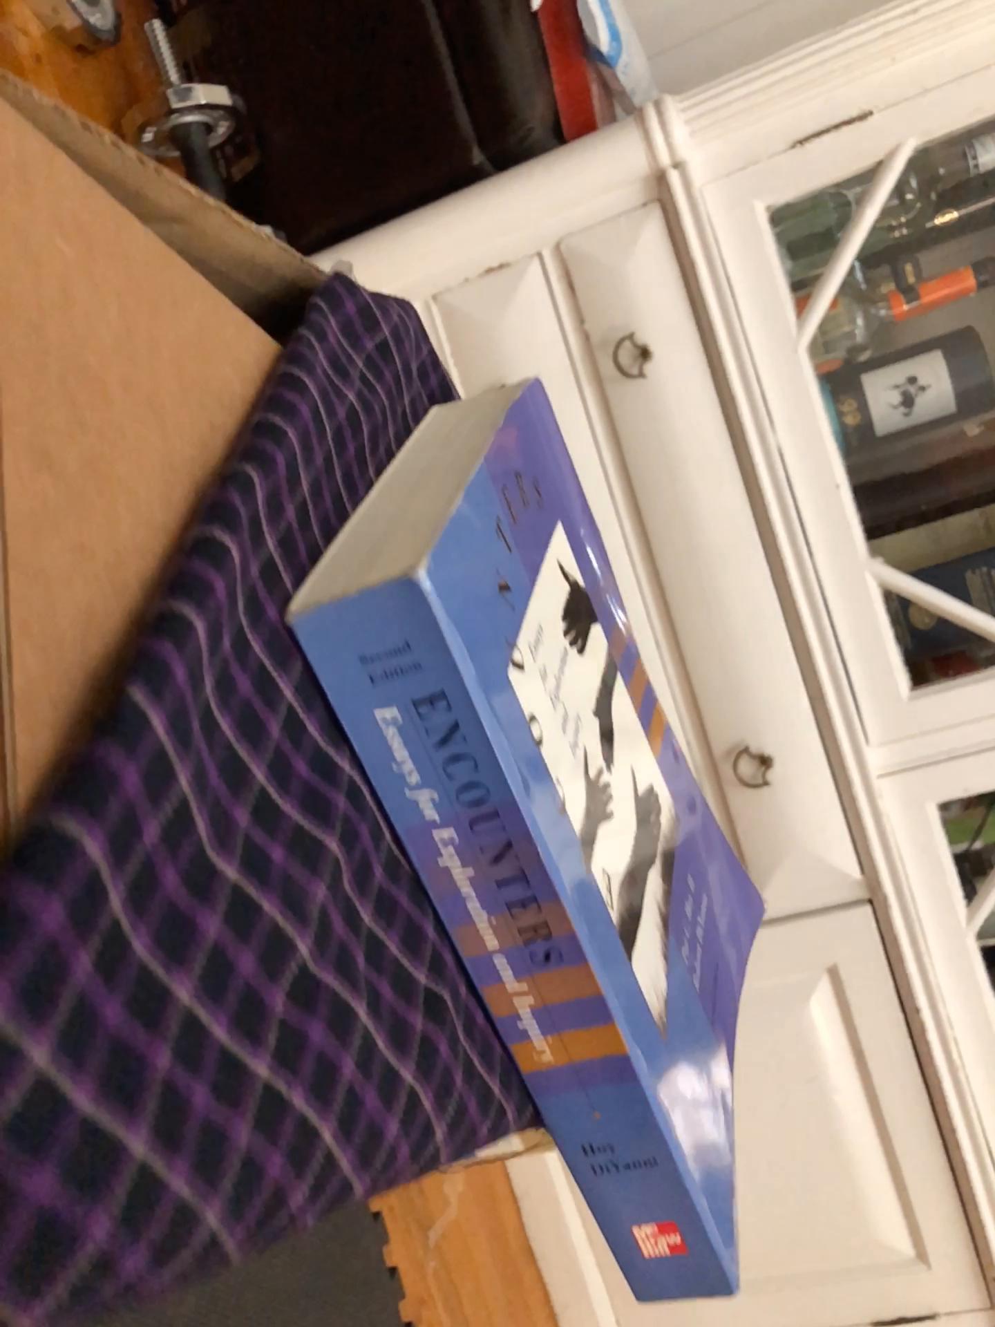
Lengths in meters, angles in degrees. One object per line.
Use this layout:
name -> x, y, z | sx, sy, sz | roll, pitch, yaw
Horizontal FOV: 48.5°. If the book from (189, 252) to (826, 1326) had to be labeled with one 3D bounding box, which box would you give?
book -> 0.029, 0.034, 0.324 | 0.201, 0.040, 0.260 | -77, 145, -58
